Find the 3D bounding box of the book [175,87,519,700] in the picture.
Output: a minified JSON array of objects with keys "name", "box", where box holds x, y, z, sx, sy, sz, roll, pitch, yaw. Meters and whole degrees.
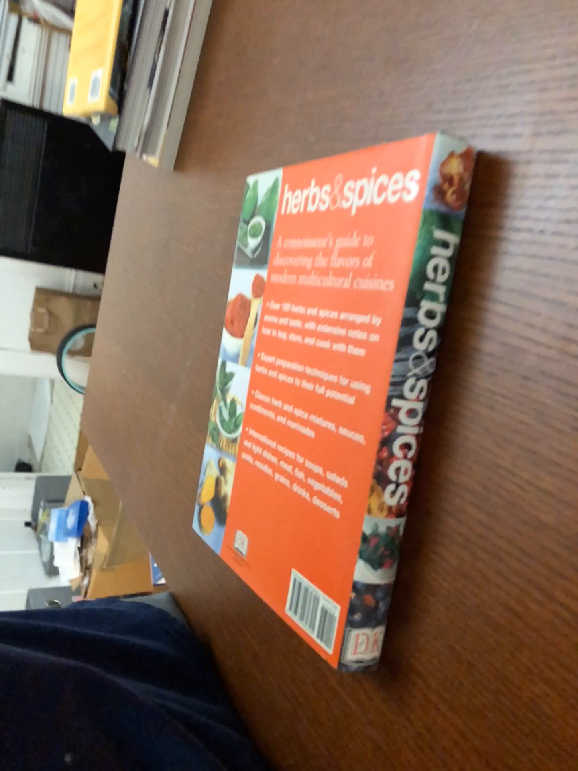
[{"name":"book","box":[0.008,-0.007,0.374,0.211,0.040,0.270,21,103,58]}]
